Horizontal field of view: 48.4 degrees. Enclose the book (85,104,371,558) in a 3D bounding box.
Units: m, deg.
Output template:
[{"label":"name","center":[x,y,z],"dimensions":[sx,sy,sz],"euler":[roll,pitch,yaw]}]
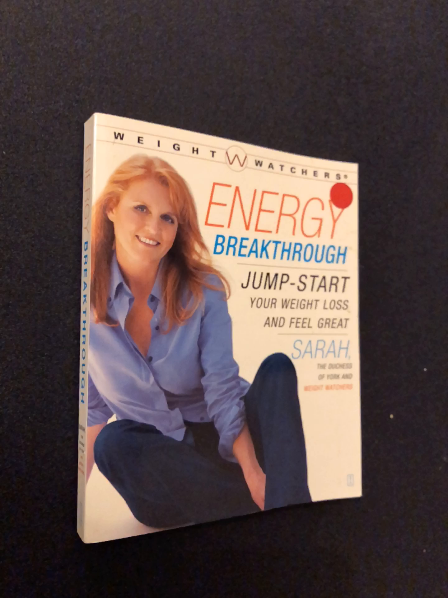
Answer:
[{"label":"book","center":[0.012,0.017,0.316],"dimensions":[0.186,0.030,0.234],"euler":[2,86,-28]}]
